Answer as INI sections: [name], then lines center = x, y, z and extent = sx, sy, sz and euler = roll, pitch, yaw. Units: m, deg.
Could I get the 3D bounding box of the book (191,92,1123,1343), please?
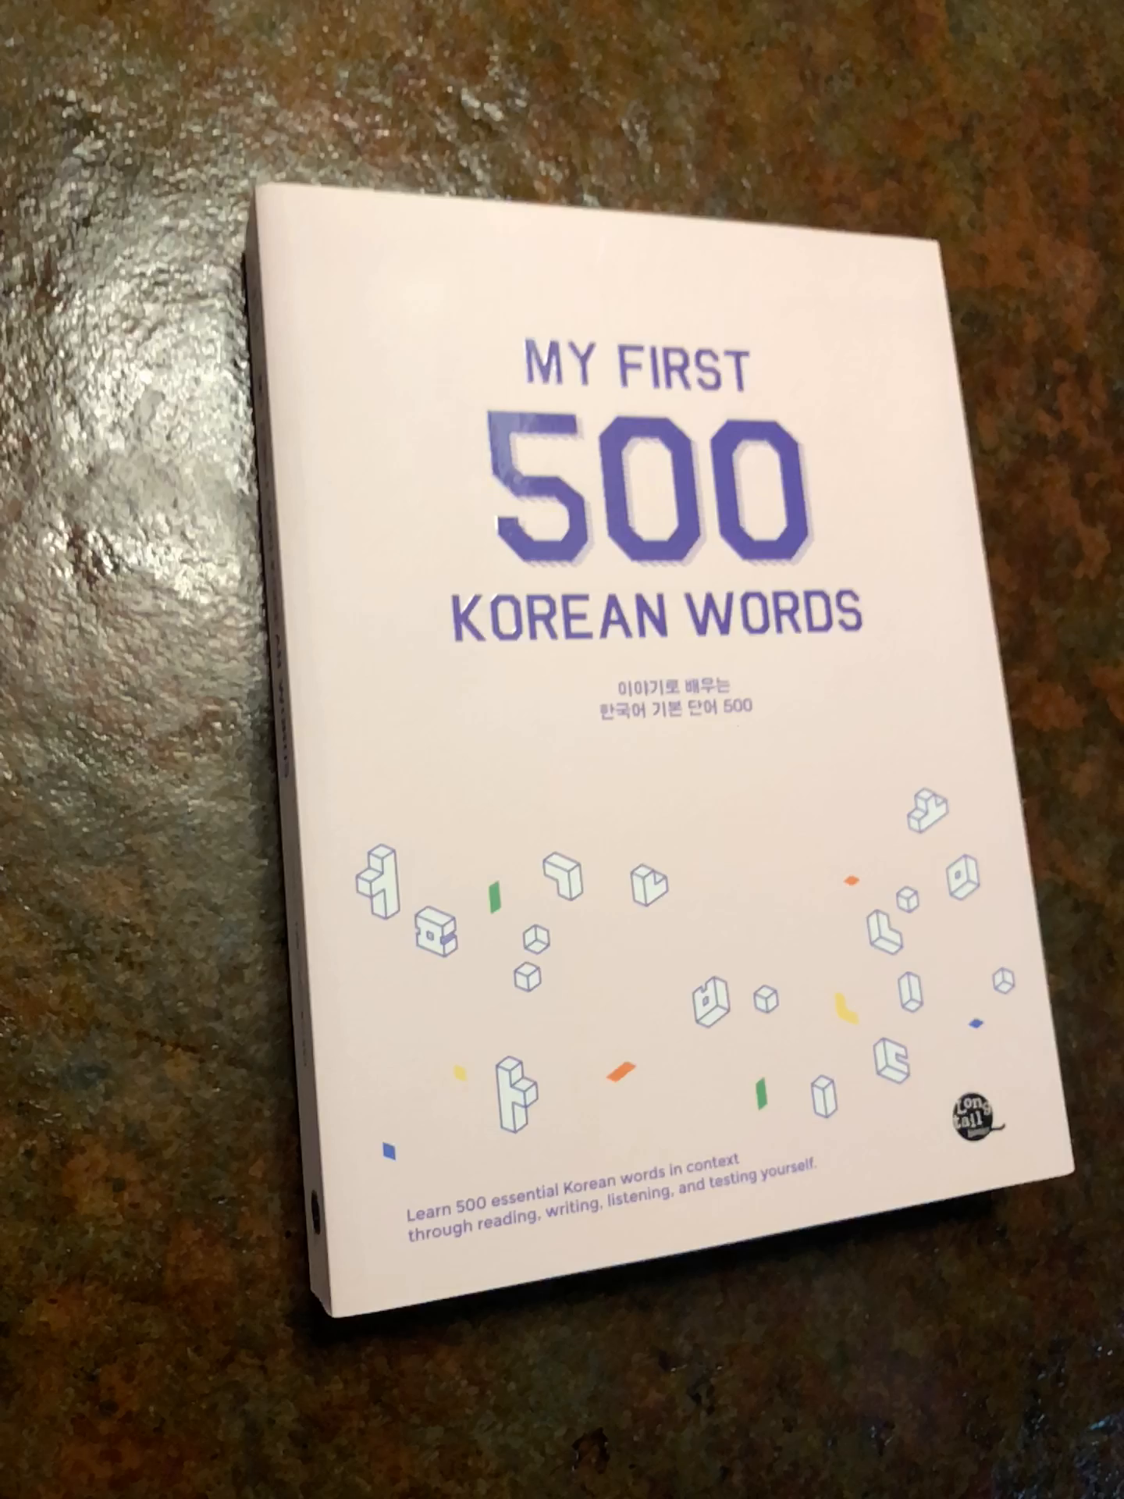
[book]
center = 0.026, -0.017, 0.272
extent = 0.190, 0.030, 0.230
euler = -3, 82, -20
